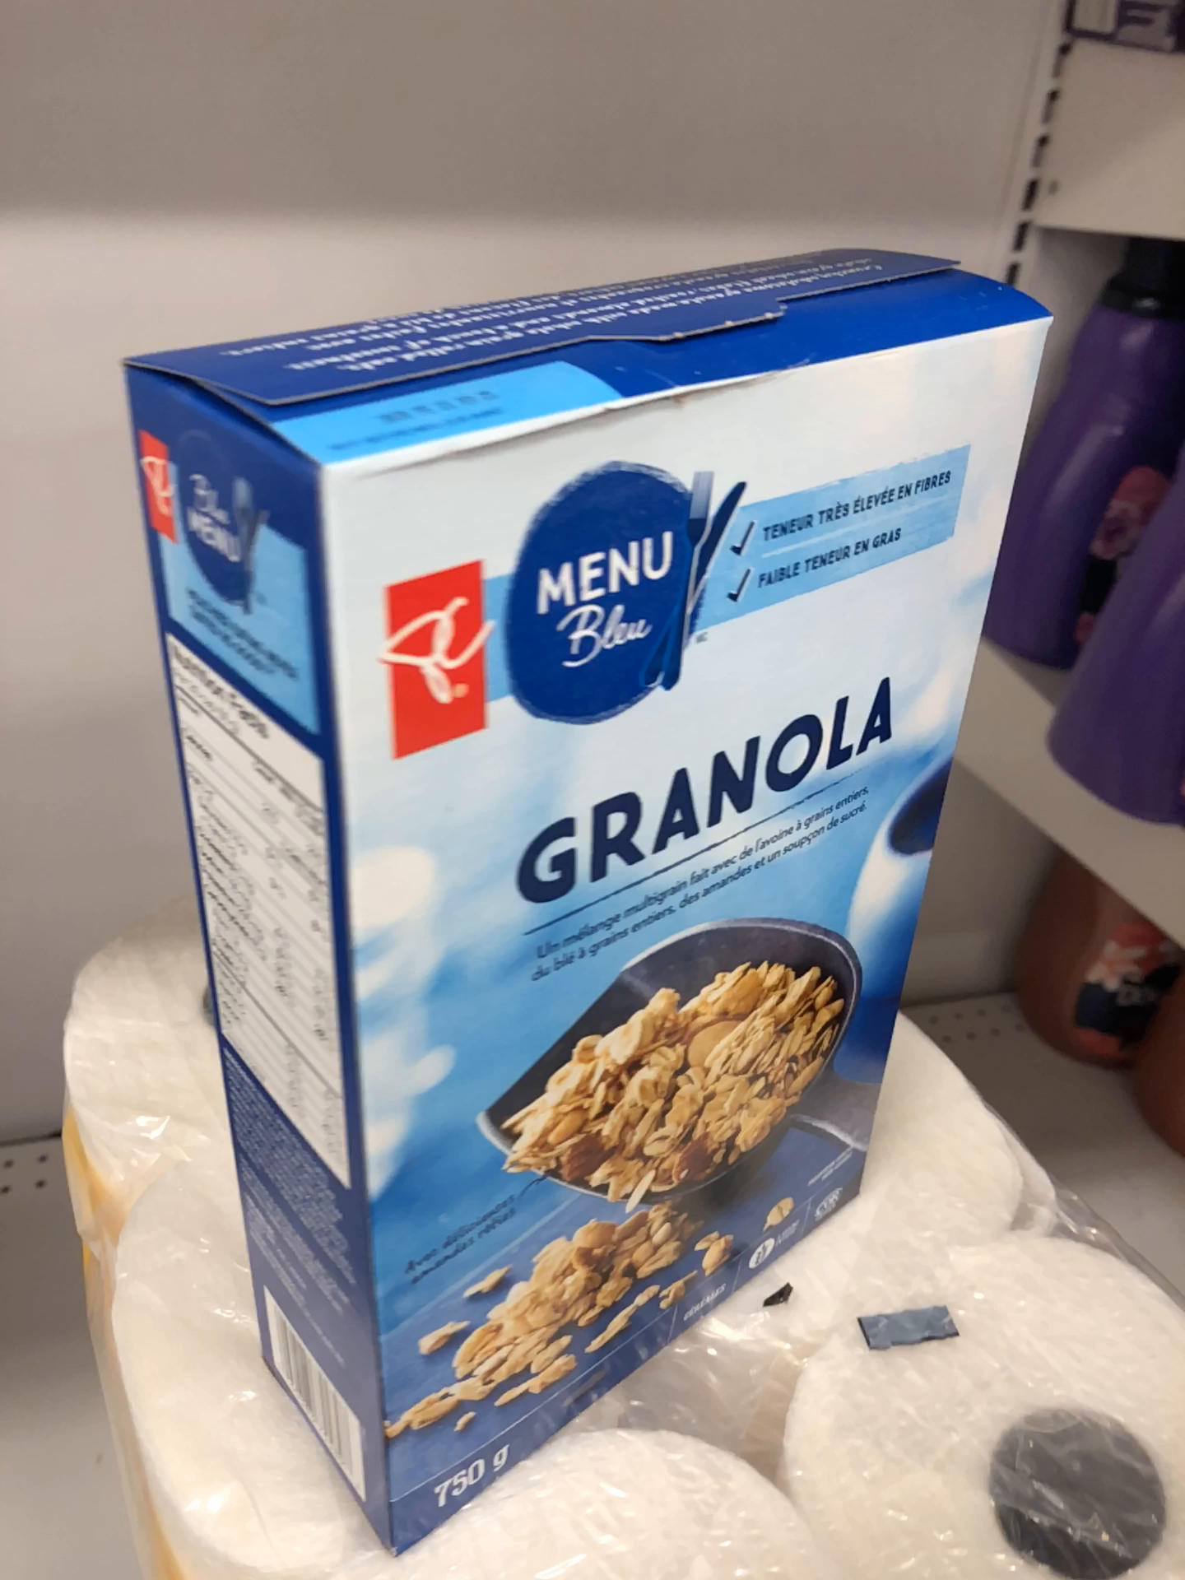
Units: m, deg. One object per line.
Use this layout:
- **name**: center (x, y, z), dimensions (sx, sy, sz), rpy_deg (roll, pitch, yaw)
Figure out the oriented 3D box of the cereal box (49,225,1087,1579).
- **cereal box**: center (0.002, 0.024, 0.271), dimensions (0.160, 0.239, 0.060), rpy_deg (-22, 39, -33)
